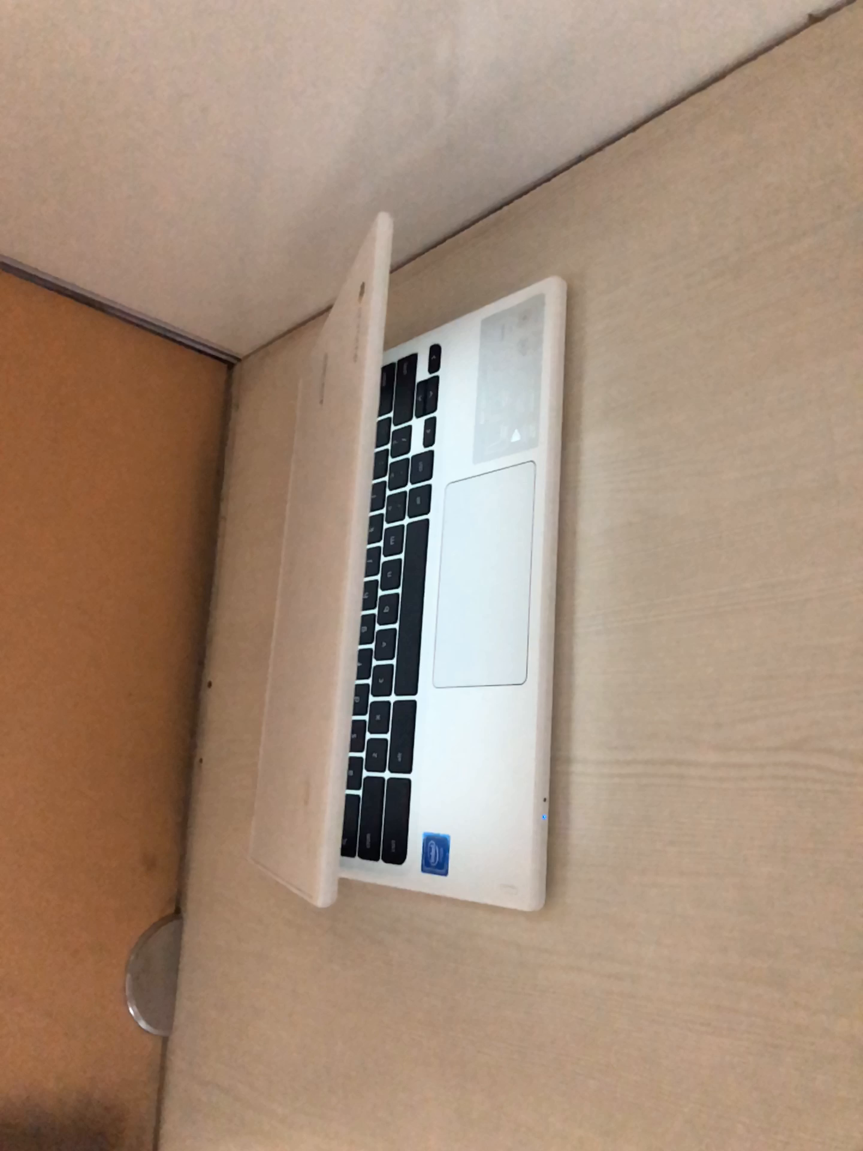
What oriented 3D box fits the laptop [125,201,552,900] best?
[{"bbox_3d":[-0.050,0.000,0.476,0.201,0.092,0.283,-11,70,48],"label":"laptop"}]
